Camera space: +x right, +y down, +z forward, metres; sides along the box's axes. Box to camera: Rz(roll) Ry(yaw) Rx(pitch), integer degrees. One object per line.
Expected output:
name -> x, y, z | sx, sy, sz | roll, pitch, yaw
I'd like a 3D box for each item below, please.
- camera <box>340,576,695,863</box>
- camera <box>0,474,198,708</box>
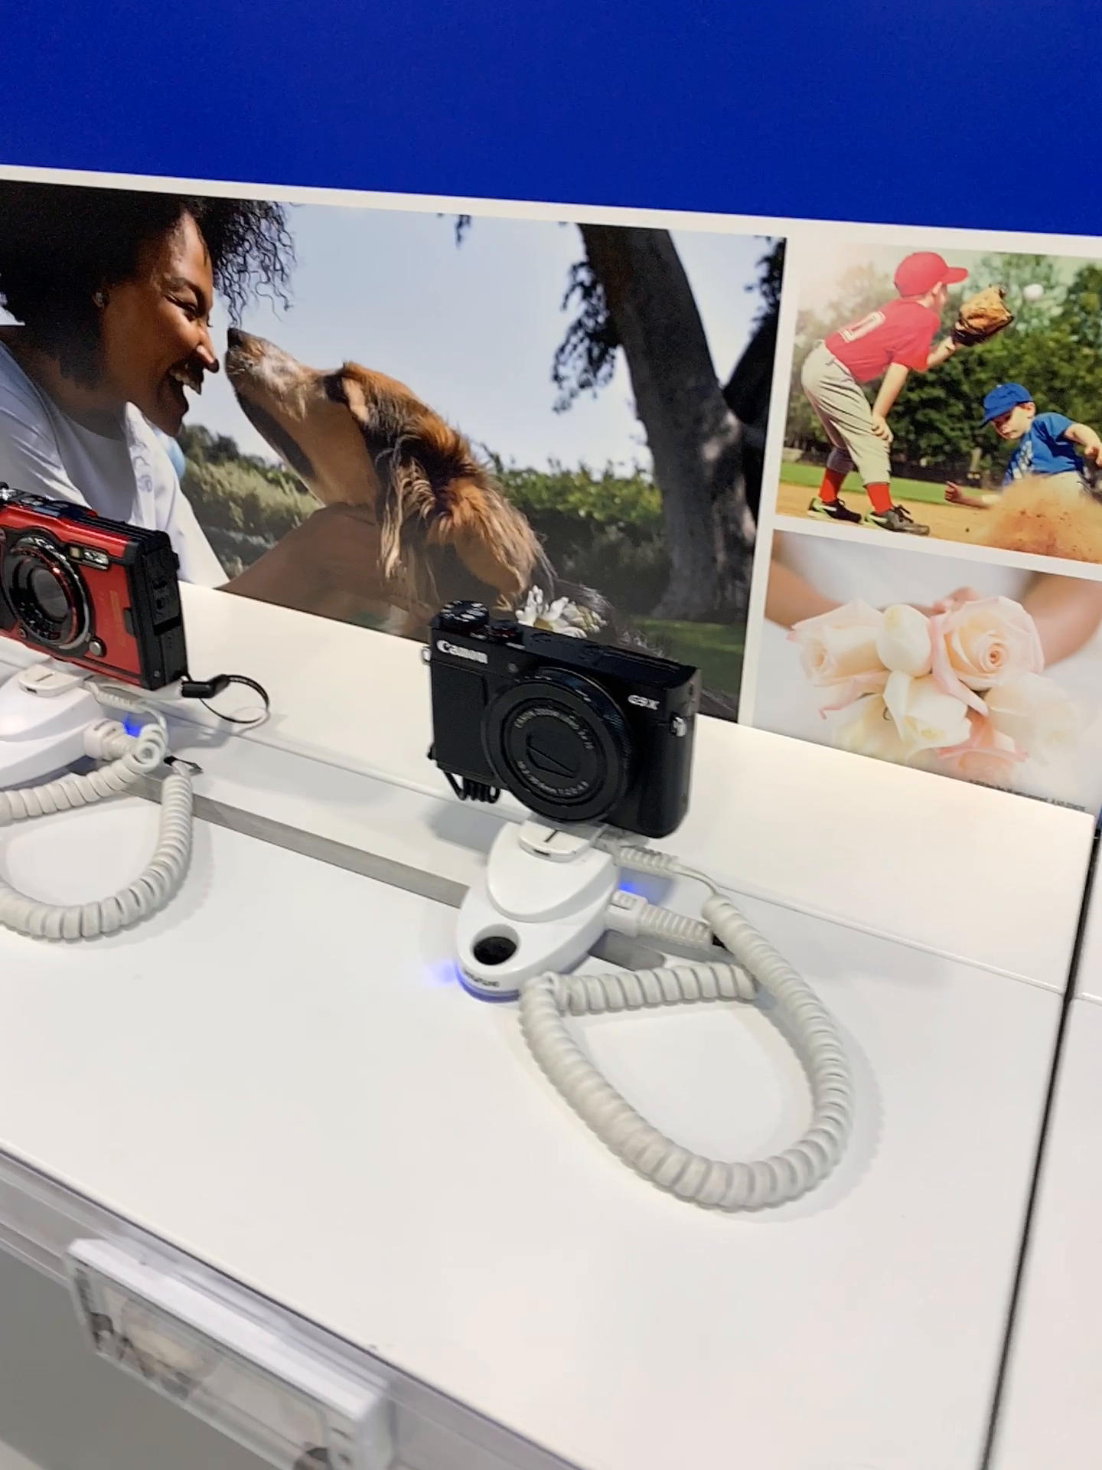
camera -> -0.012, -0.009, 0.400 | 0.110, 0.060, 0.050 | 16, 34, 24
camera -> -0.221, -0.064, 0.483 | 0.130, 0.060, 0.050 | 16, 34, 24
